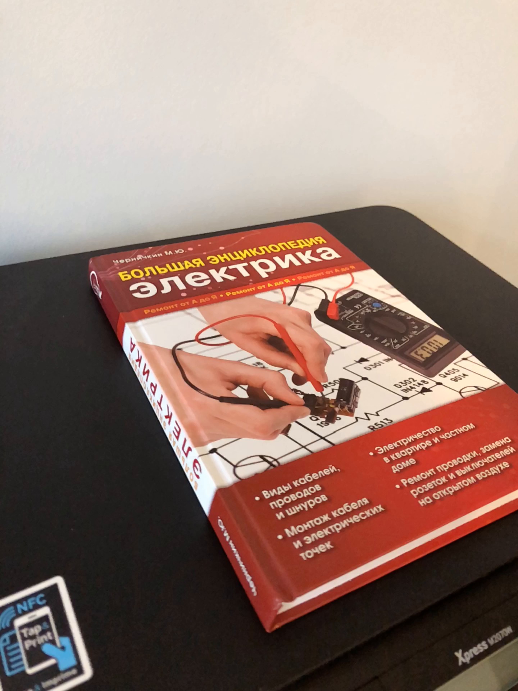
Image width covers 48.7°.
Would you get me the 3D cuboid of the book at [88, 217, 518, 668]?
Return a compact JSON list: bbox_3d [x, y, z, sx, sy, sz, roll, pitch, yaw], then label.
[{"bbox_3d":[0.024,0.013,0.316,0.170,0.040,0.241,-14,44,-25],"label":"book"}]
